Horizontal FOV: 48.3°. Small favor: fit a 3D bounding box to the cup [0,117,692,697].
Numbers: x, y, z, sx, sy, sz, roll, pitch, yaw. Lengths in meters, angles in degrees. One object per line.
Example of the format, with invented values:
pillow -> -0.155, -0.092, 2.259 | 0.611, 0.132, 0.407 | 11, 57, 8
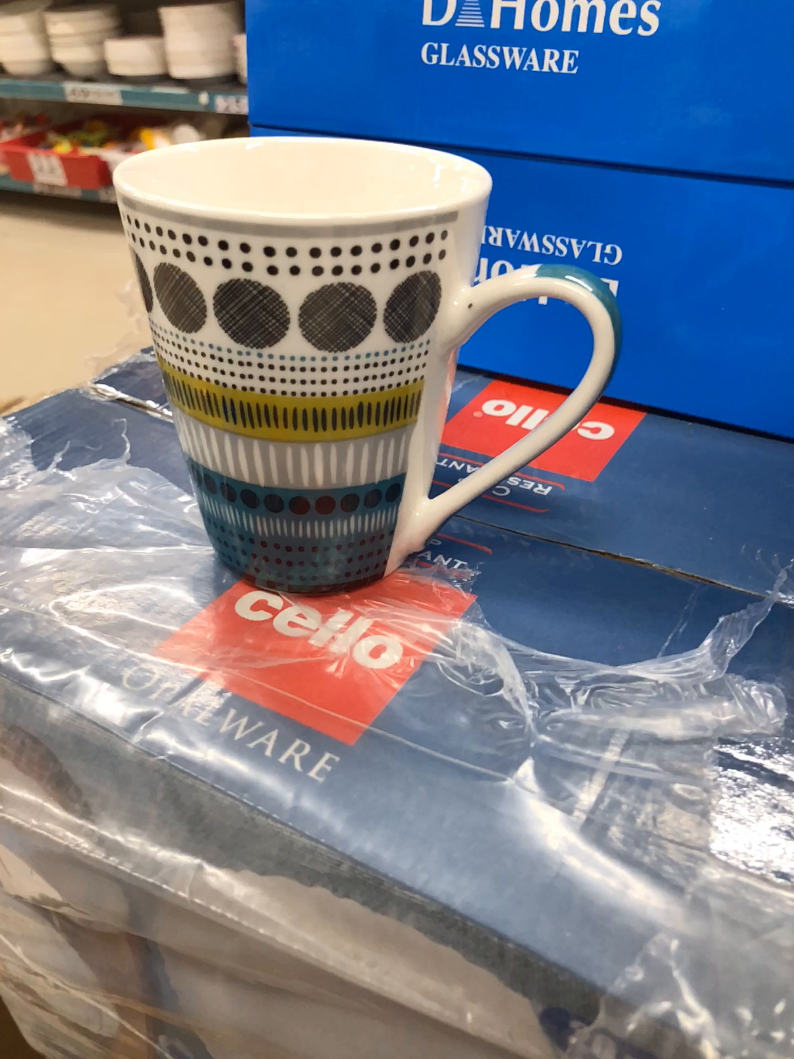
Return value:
cup -> -0.005, -0.039, 0.212 | 0.120, 0.089, 0.091 | 13, 37, 21
